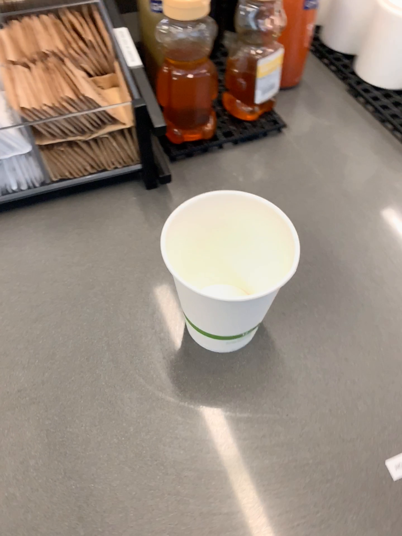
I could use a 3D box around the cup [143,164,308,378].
[{"bbox_3d":[0.017,0.007,0.292,0.080,0.120,0.080,0,55,-1],"label":"cup"}]
